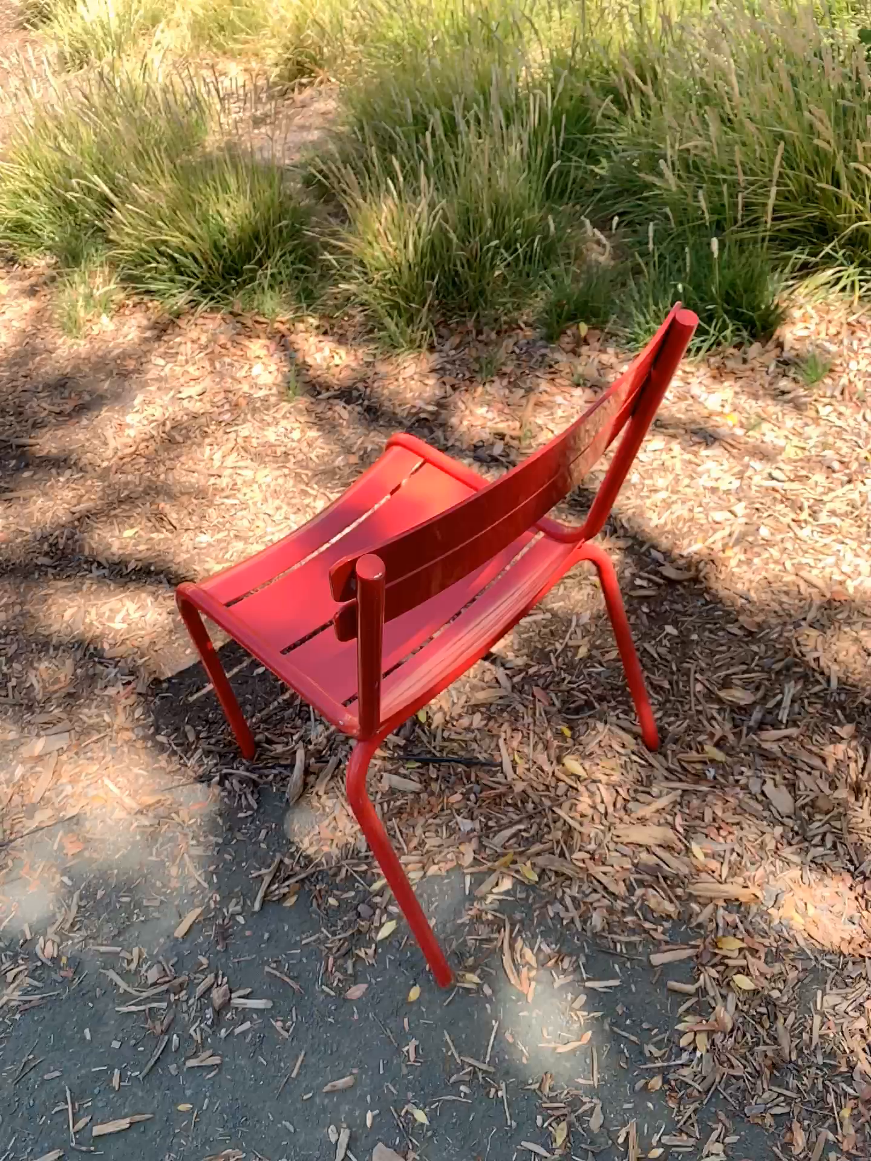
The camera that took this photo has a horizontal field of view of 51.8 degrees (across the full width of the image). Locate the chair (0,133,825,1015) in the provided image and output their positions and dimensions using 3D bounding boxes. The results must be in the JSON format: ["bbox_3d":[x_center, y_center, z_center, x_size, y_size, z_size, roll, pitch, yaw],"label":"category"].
[{"bbox_3d":[-0.029,0.005,1.167,0.572,0.786,0.611,35,59,27],"label":"chair"}]
